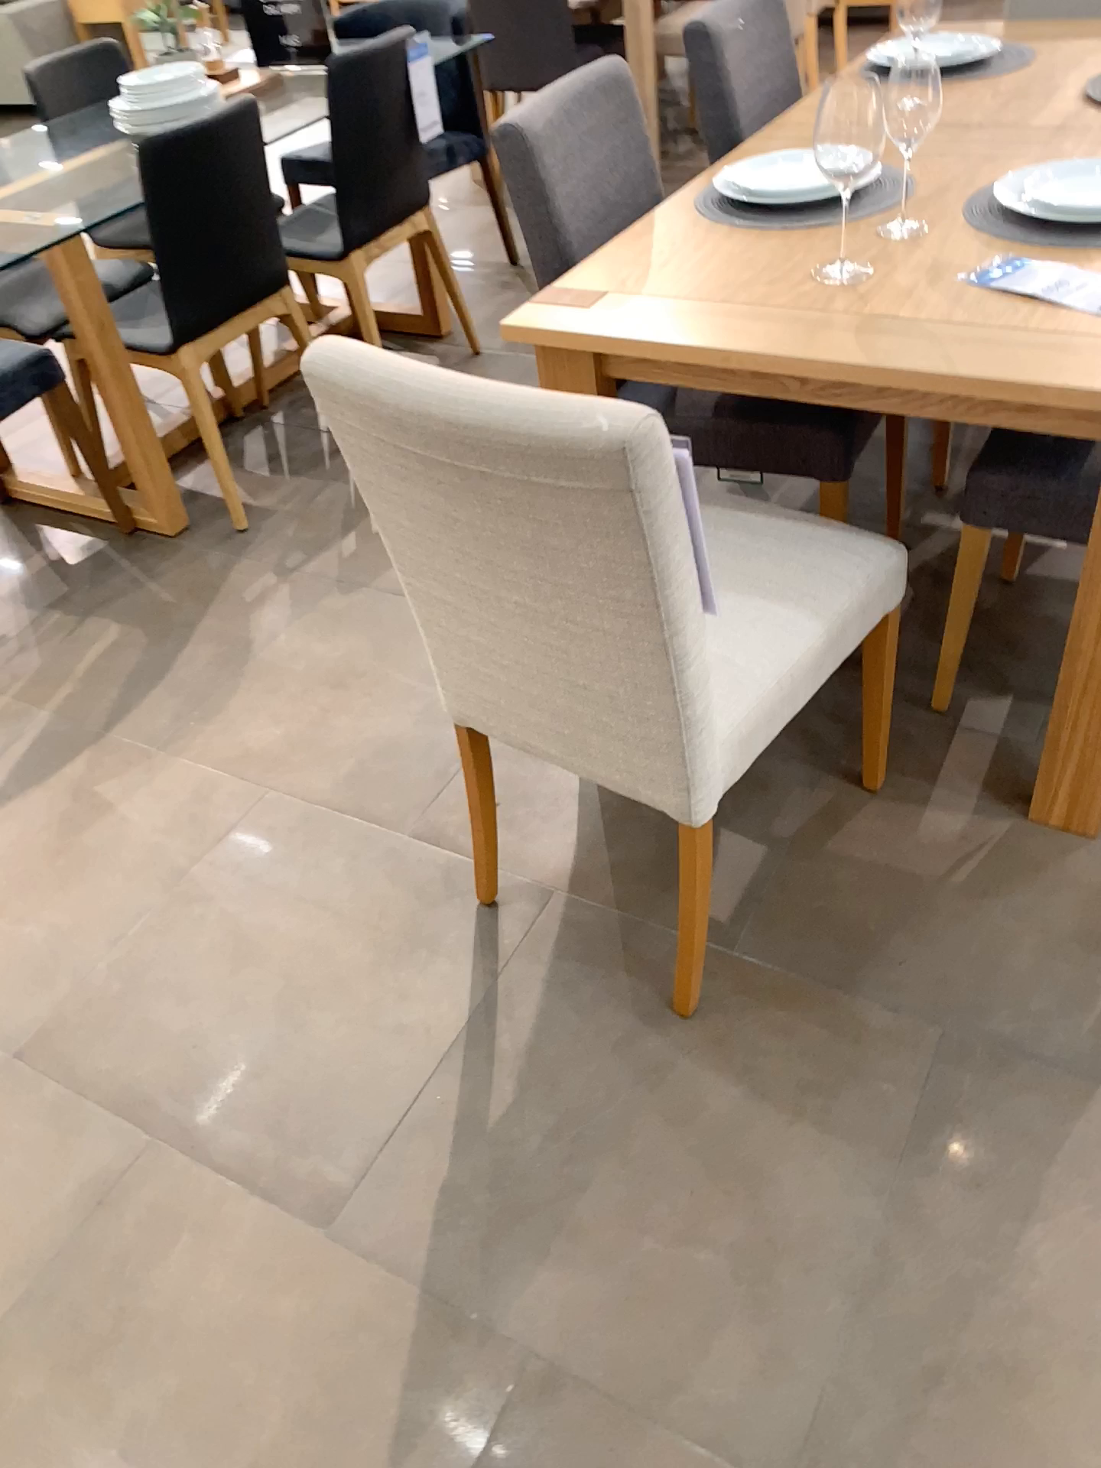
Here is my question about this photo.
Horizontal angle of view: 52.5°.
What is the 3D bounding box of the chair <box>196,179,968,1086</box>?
[{"bbox_3d":[0.092,-0.154,1.442,0.539,0.838,0.645,23,49,32],"label":"chair"}]
